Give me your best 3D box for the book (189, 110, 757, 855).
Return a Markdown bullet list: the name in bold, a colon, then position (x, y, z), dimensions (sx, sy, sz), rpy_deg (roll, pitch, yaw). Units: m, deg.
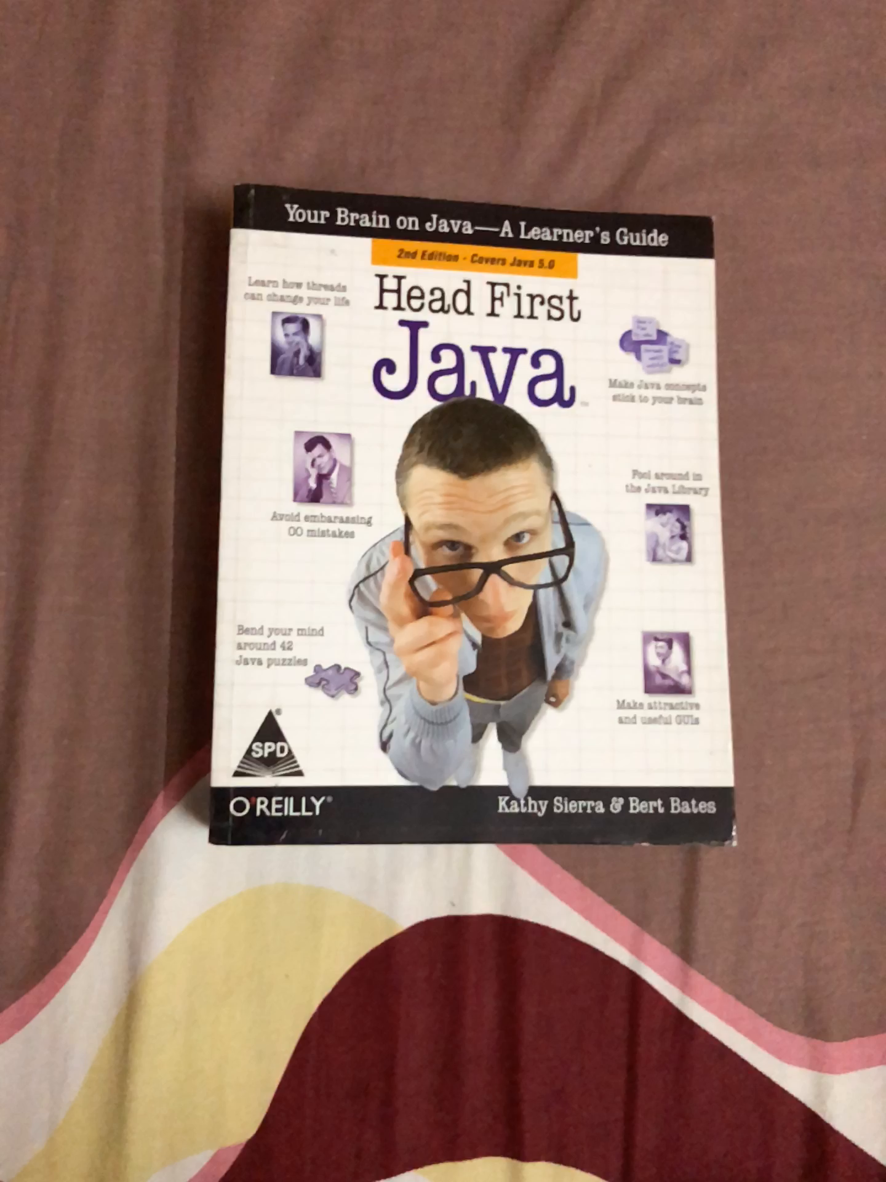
- **book**: position (0.012, -0.038, 0.369), dimensions (0.190, 0.050, 0.260), rpy_deg (1, 82, -6)
